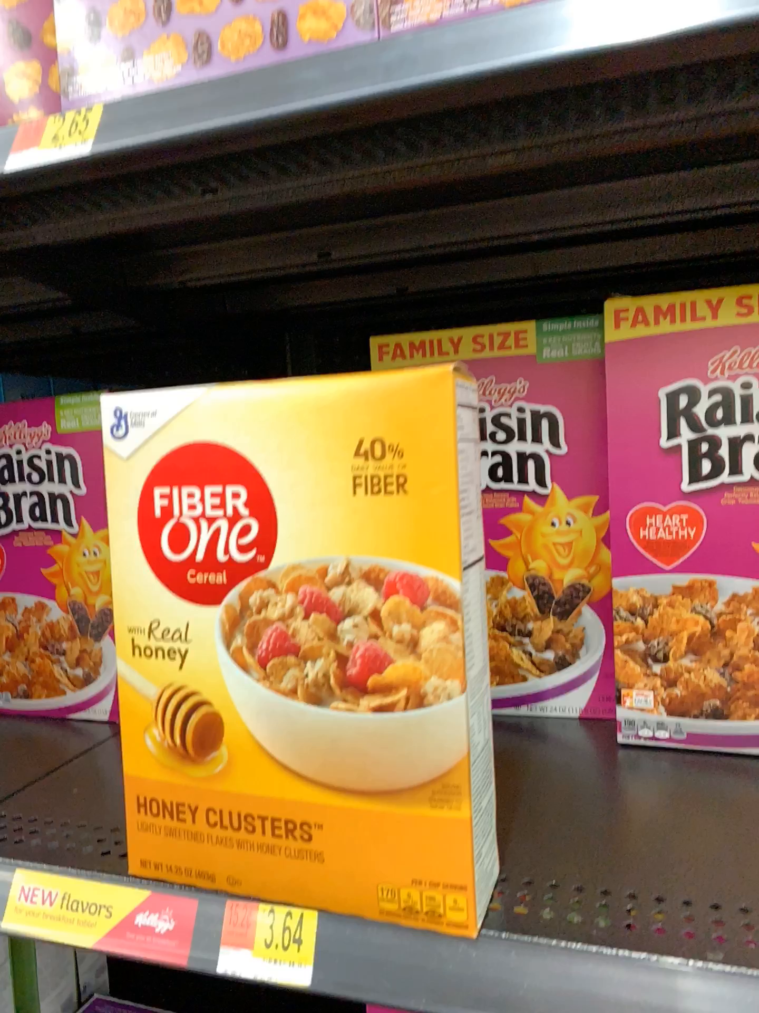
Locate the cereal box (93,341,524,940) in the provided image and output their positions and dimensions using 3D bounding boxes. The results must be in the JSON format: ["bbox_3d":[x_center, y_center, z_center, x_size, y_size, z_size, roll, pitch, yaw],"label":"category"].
[{"bbox_3d":[-0.038,0.061,0.394,0.200,0.260,0.050,-2,3,21],"label":"cereal box"}]
